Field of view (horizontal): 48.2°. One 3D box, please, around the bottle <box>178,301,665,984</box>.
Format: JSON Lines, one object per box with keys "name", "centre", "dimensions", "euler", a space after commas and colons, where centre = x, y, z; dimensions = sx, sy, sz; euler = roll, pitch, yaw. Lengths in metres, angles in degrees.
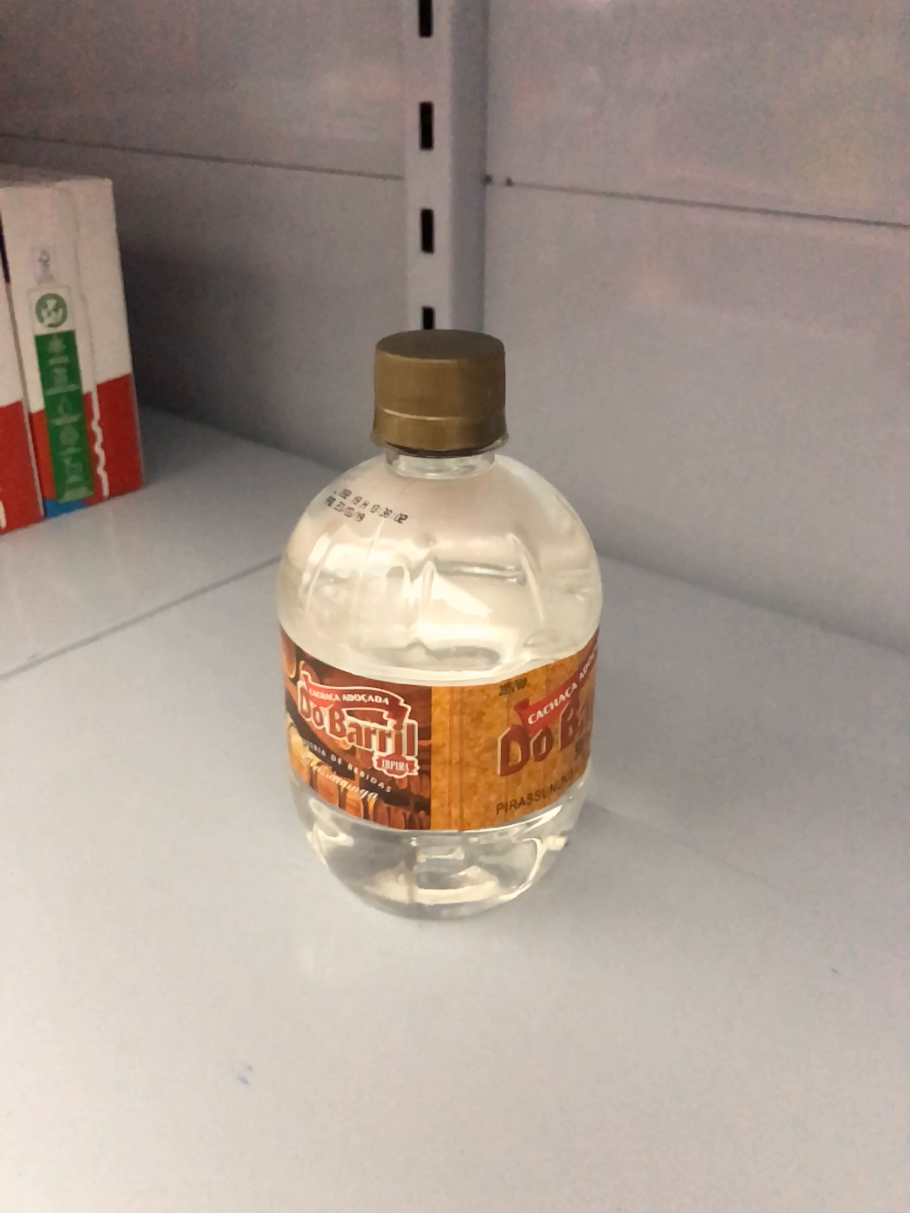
{"name": "bottle", "centre": [-0.005, 0.004, 0.263], "dimensions": [0.080, 0.139, 0.080], "euler": [0, 28, 0]}
